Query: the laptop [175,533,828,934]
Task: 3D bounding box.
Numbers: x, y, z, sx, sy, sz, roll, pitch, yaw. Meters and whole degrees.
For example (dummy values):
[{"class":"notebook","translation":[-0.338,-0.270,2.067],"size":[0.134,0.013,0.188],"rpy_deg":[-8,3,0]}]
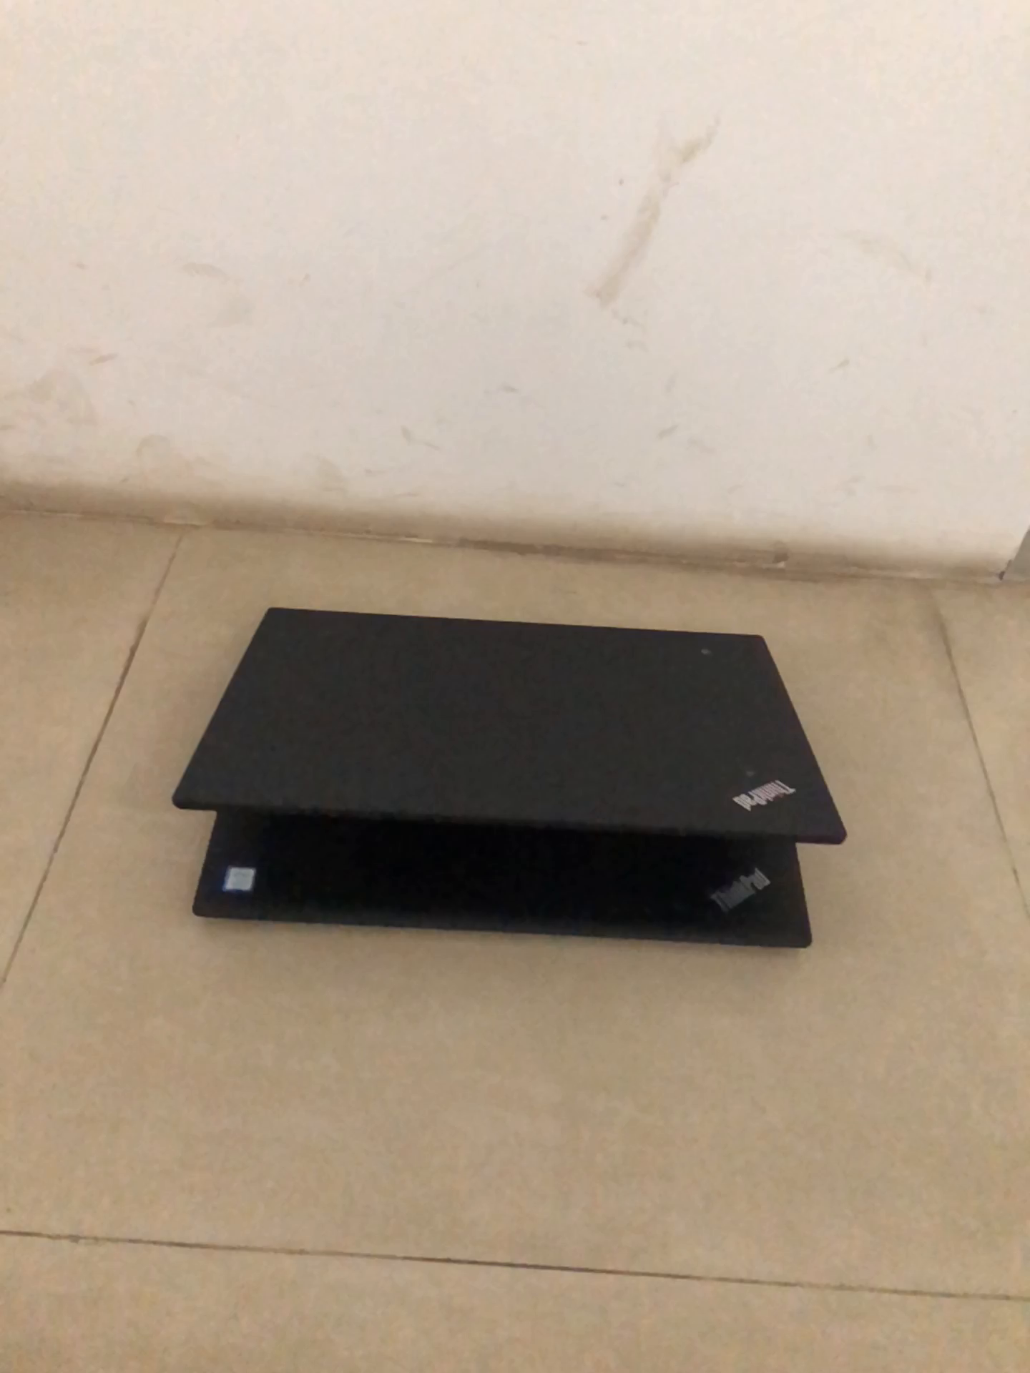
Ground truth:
[{"class":"laptop","translation":[-0.006,0.021,0.706],"size":[0.349,0.071,0.238],"rpy_deg":[3,50,-1]}]
